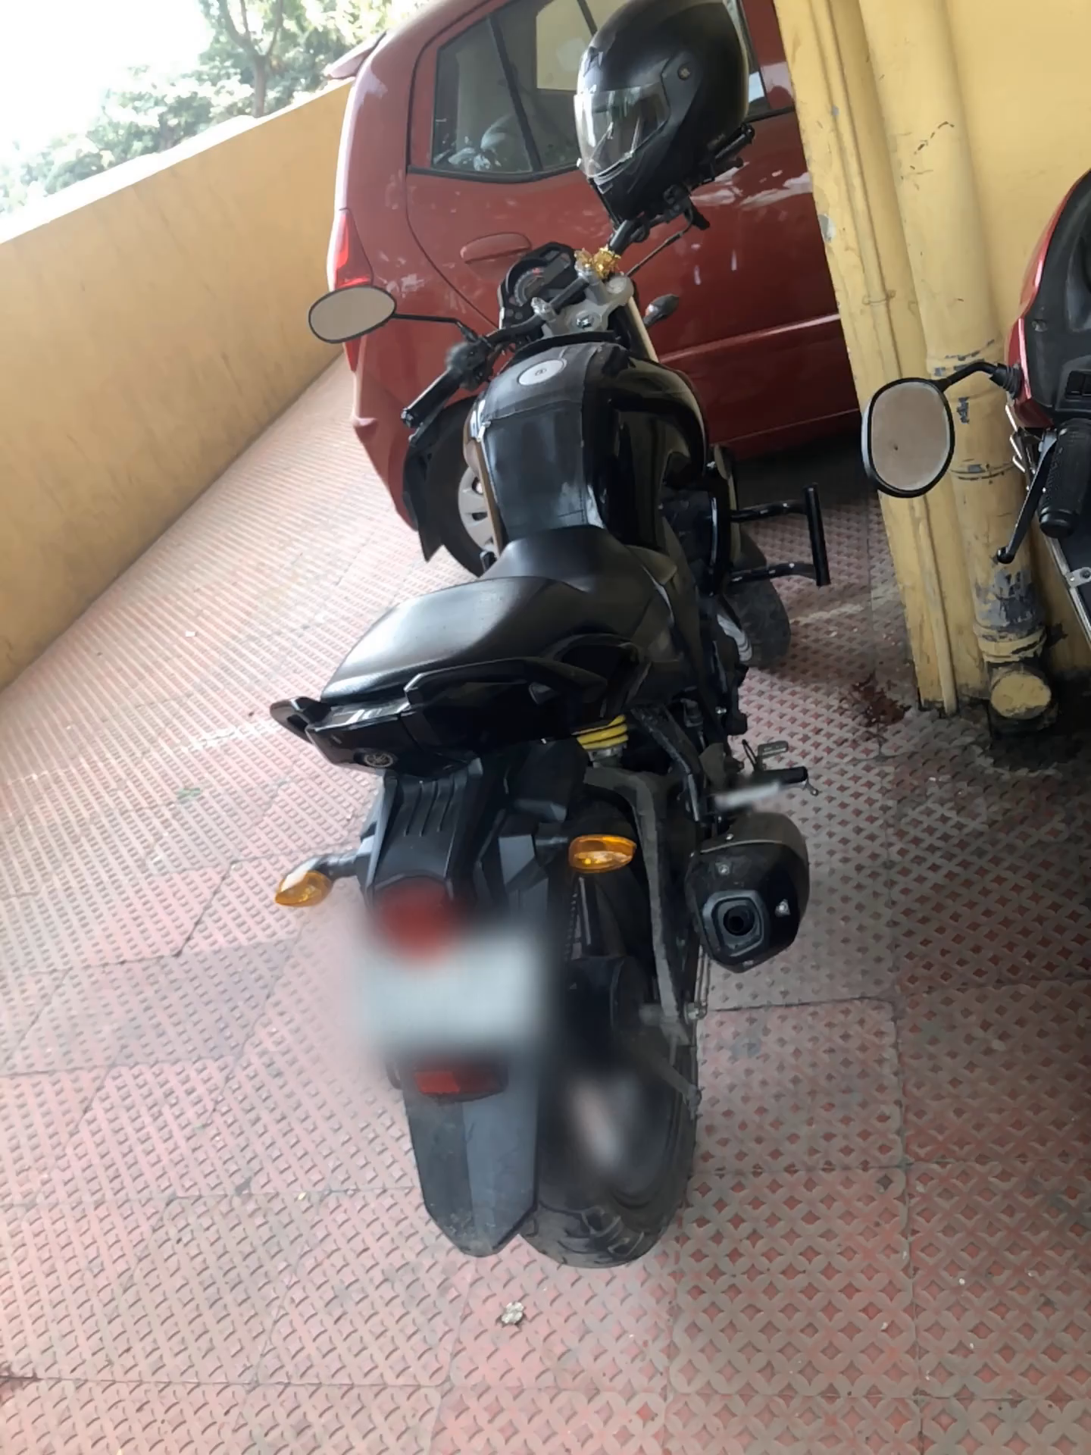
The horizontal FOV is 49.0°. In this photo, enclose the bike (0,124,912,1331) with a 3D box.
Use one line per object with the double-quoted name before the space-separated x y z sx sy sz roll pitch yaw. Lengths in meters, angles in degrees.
"bike" -0.014 -0.191 1.918 0.739 1.025 1.791 -12 31 16
